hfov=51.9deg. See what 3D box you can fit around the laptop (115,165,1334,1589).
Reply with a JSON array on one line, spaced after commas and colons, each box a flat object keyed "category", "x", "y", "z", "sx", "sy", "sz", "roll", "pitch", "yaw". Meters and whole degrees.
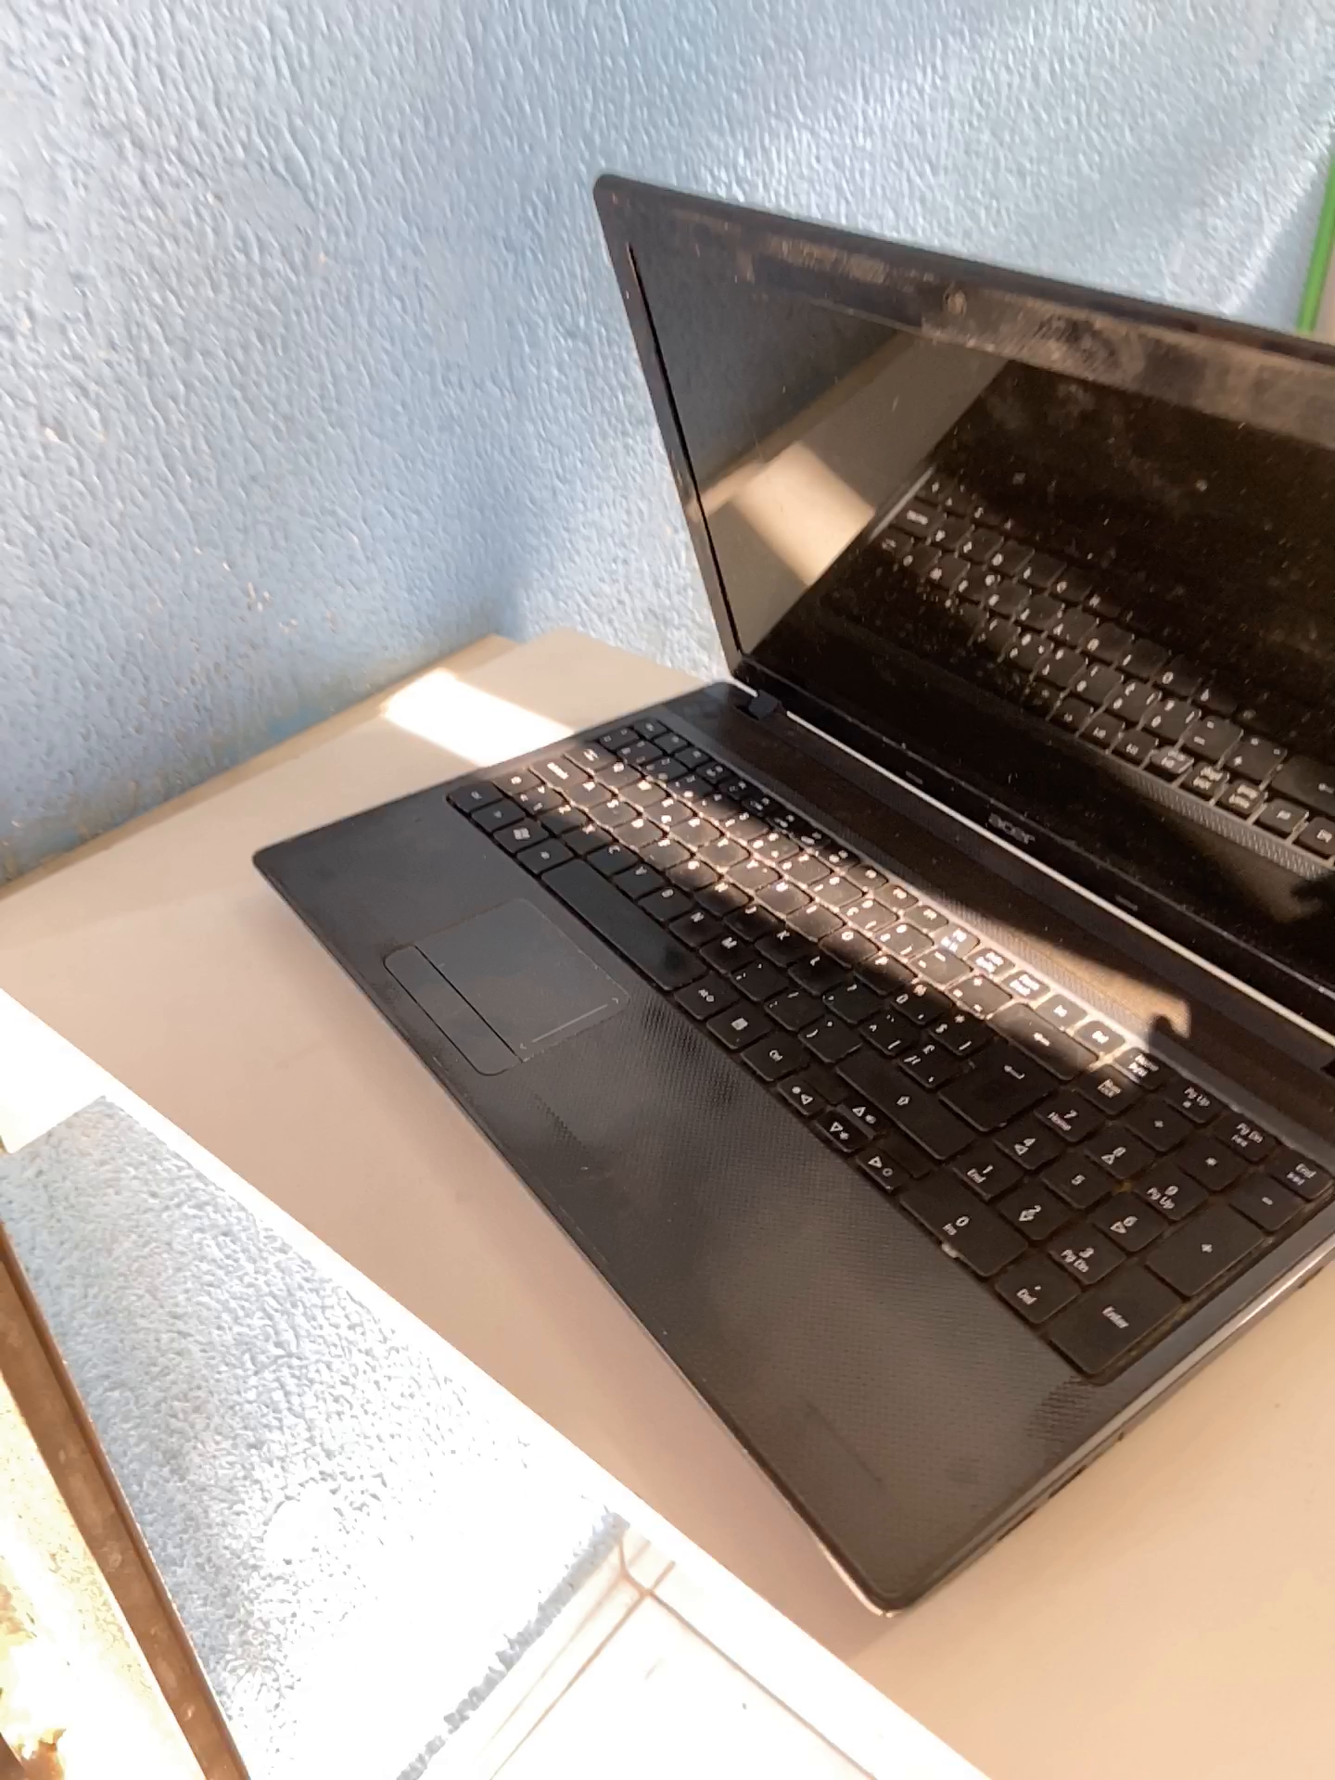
[{"category": "laptop", "x": 0.038, "y": -0.065, "z": 0.439, "sx": 0.254, "sy": 0.234, "sz": 0.375, "roll": -23, "pitch": 41, "yaw": -28}]
